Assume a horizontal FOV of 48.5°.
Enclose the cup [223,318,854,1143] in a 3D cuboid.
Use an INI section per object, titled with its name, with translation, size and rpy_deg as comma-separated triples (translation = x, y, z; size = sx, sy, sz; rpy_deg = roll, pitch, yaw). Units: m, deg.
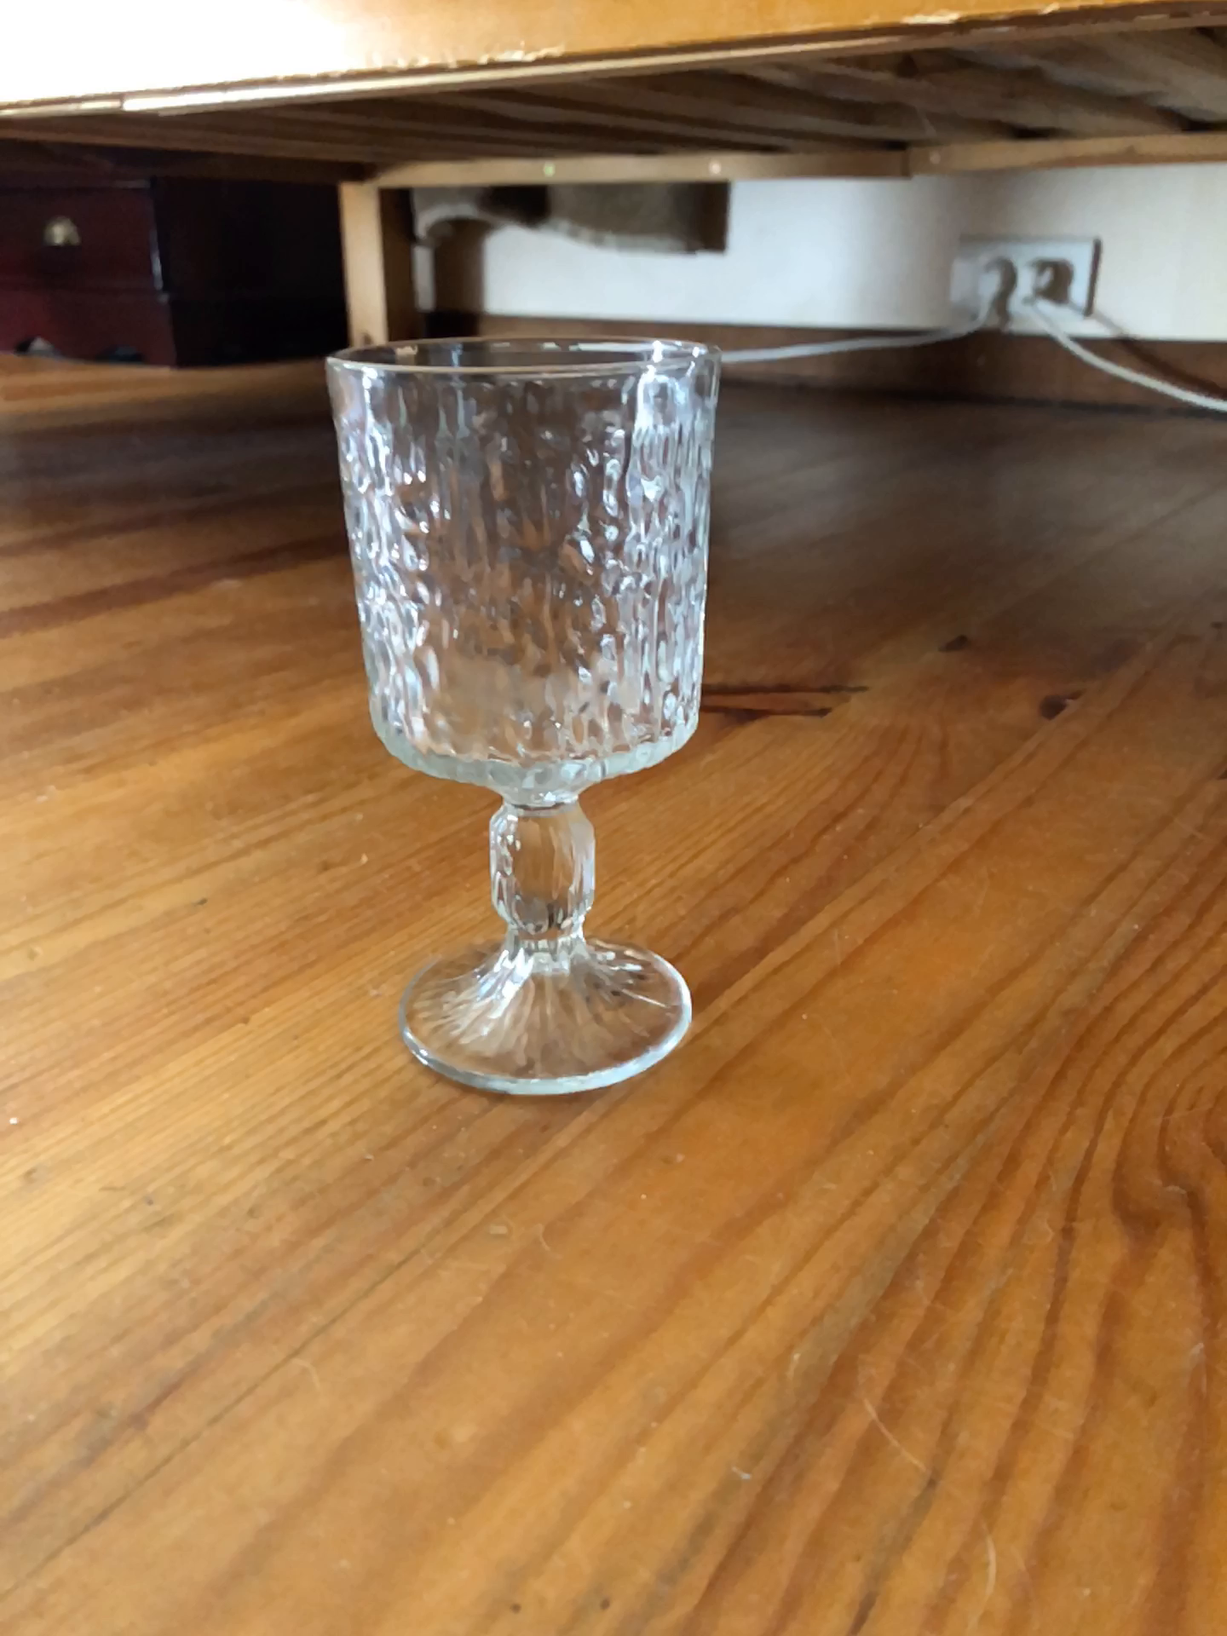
[cup]
translation = -0.011, -0.026, 0.270
size = 0.081, 0.134, 0.081
rpy_deg = 0, 22, 0
